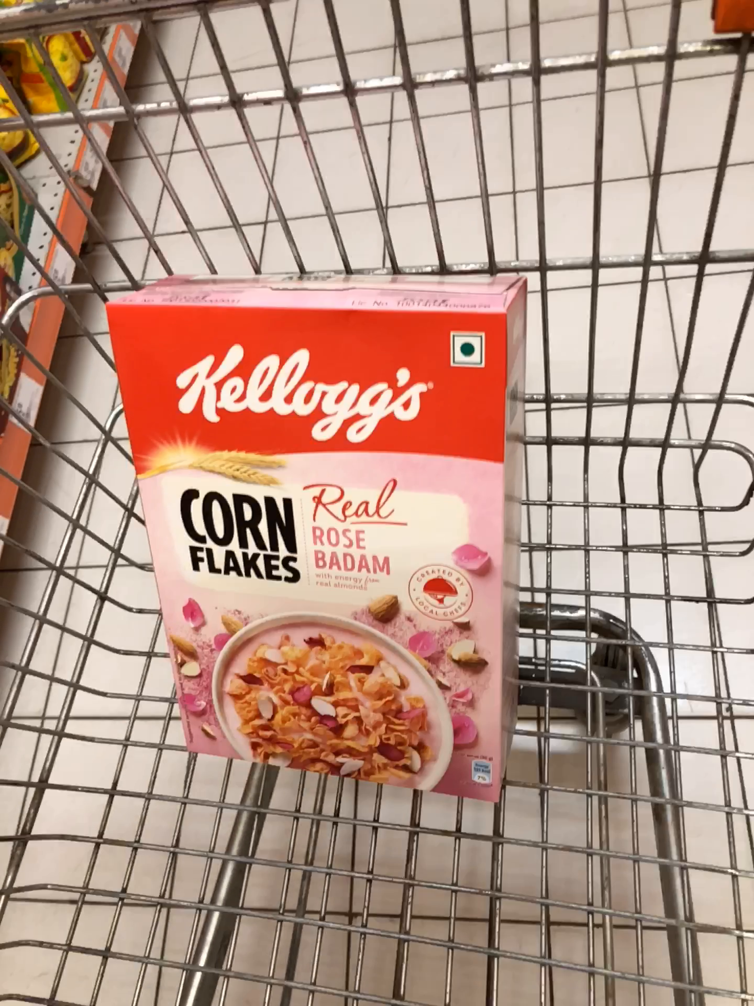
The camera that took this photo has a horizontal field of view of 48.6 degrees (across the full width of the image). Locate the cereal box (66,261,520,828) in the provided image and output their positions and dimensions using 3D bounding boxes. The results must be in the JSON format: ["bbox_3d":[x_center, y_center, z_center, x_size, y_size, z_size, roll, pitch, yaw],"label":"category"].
[{"bbox_3d":[-0.027,0.020,0.416,0.180,0.259,0.080,4,26,15],"label":"cereal box"}]
